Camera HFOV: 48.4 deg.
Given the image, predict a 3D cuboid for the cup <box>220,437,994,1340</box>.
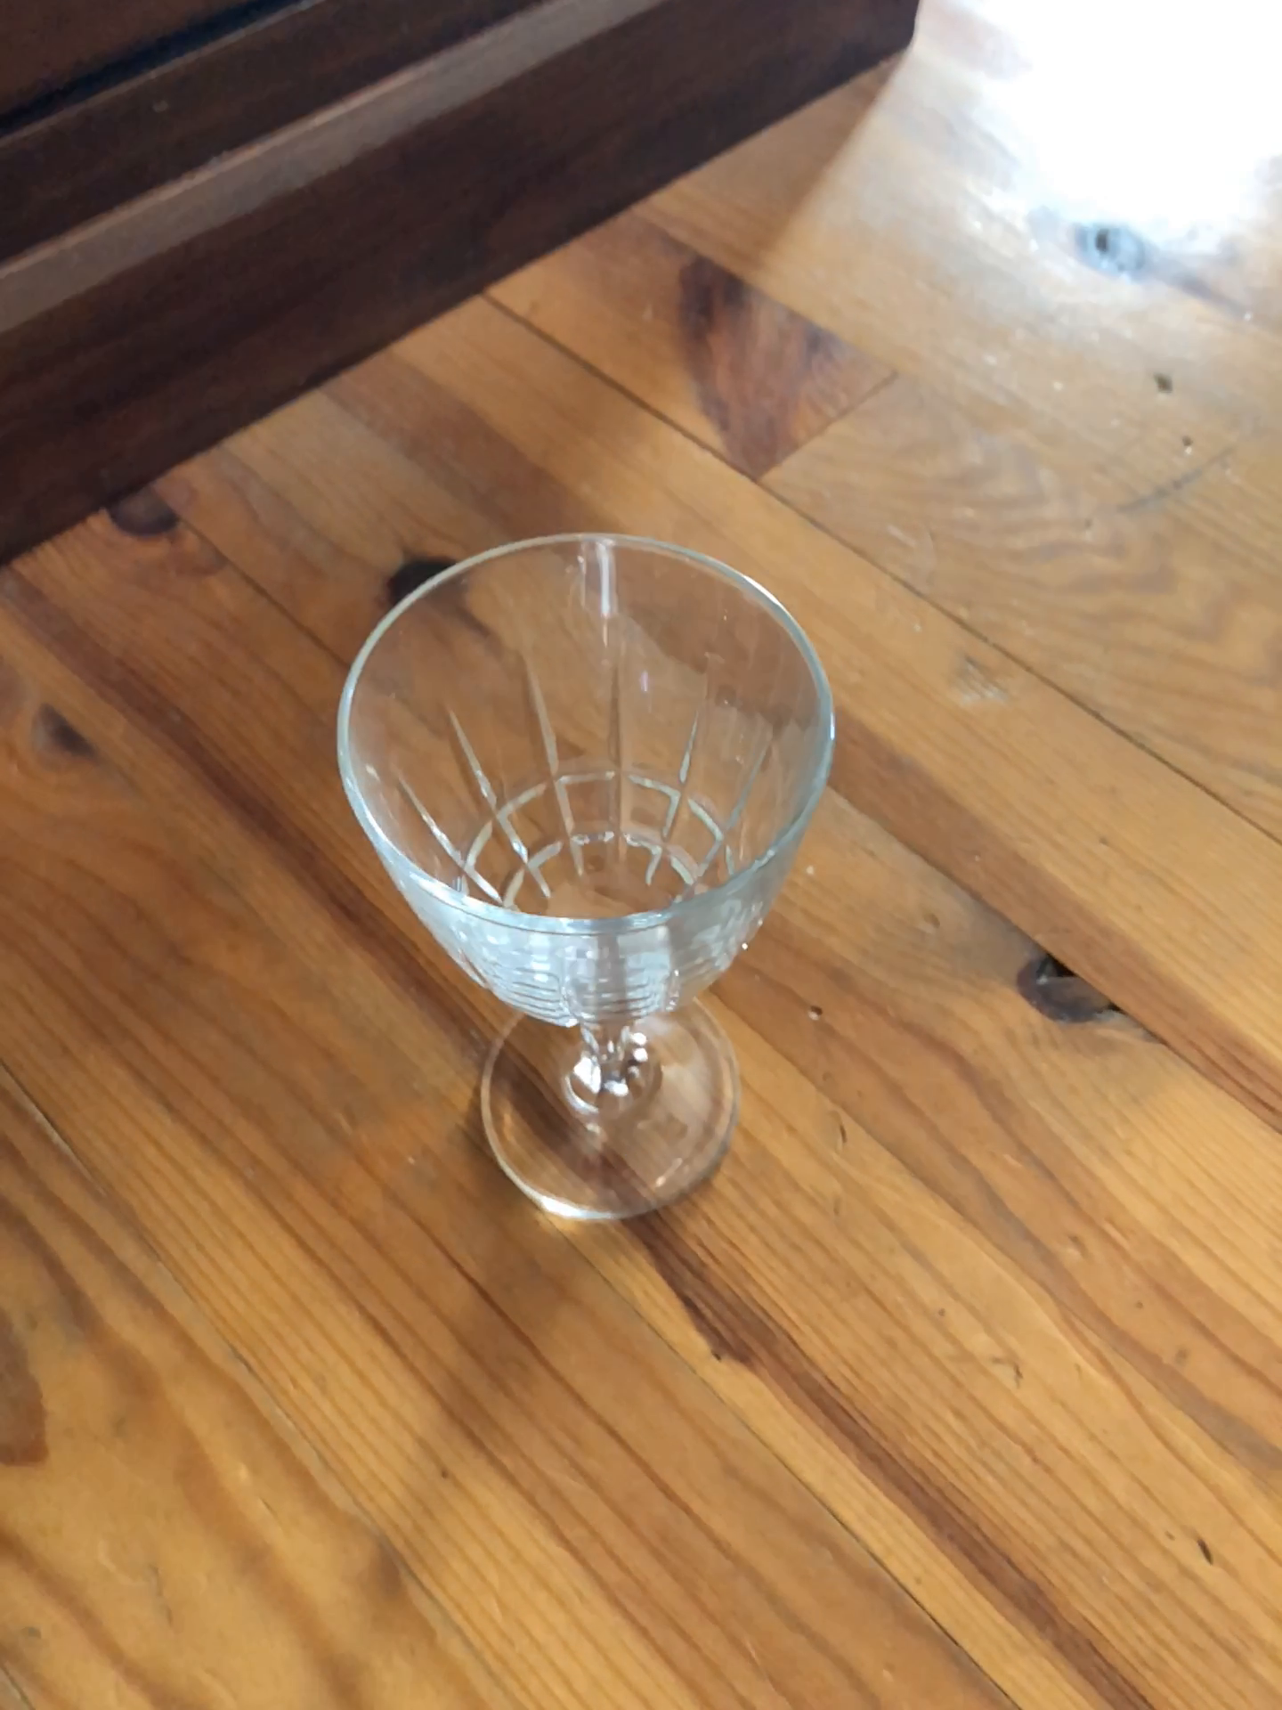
[{"bbox_3d":[-0.006,0.015,0.276,0.085,0.141,0.084,0,57,0],"label":"cup"}]
